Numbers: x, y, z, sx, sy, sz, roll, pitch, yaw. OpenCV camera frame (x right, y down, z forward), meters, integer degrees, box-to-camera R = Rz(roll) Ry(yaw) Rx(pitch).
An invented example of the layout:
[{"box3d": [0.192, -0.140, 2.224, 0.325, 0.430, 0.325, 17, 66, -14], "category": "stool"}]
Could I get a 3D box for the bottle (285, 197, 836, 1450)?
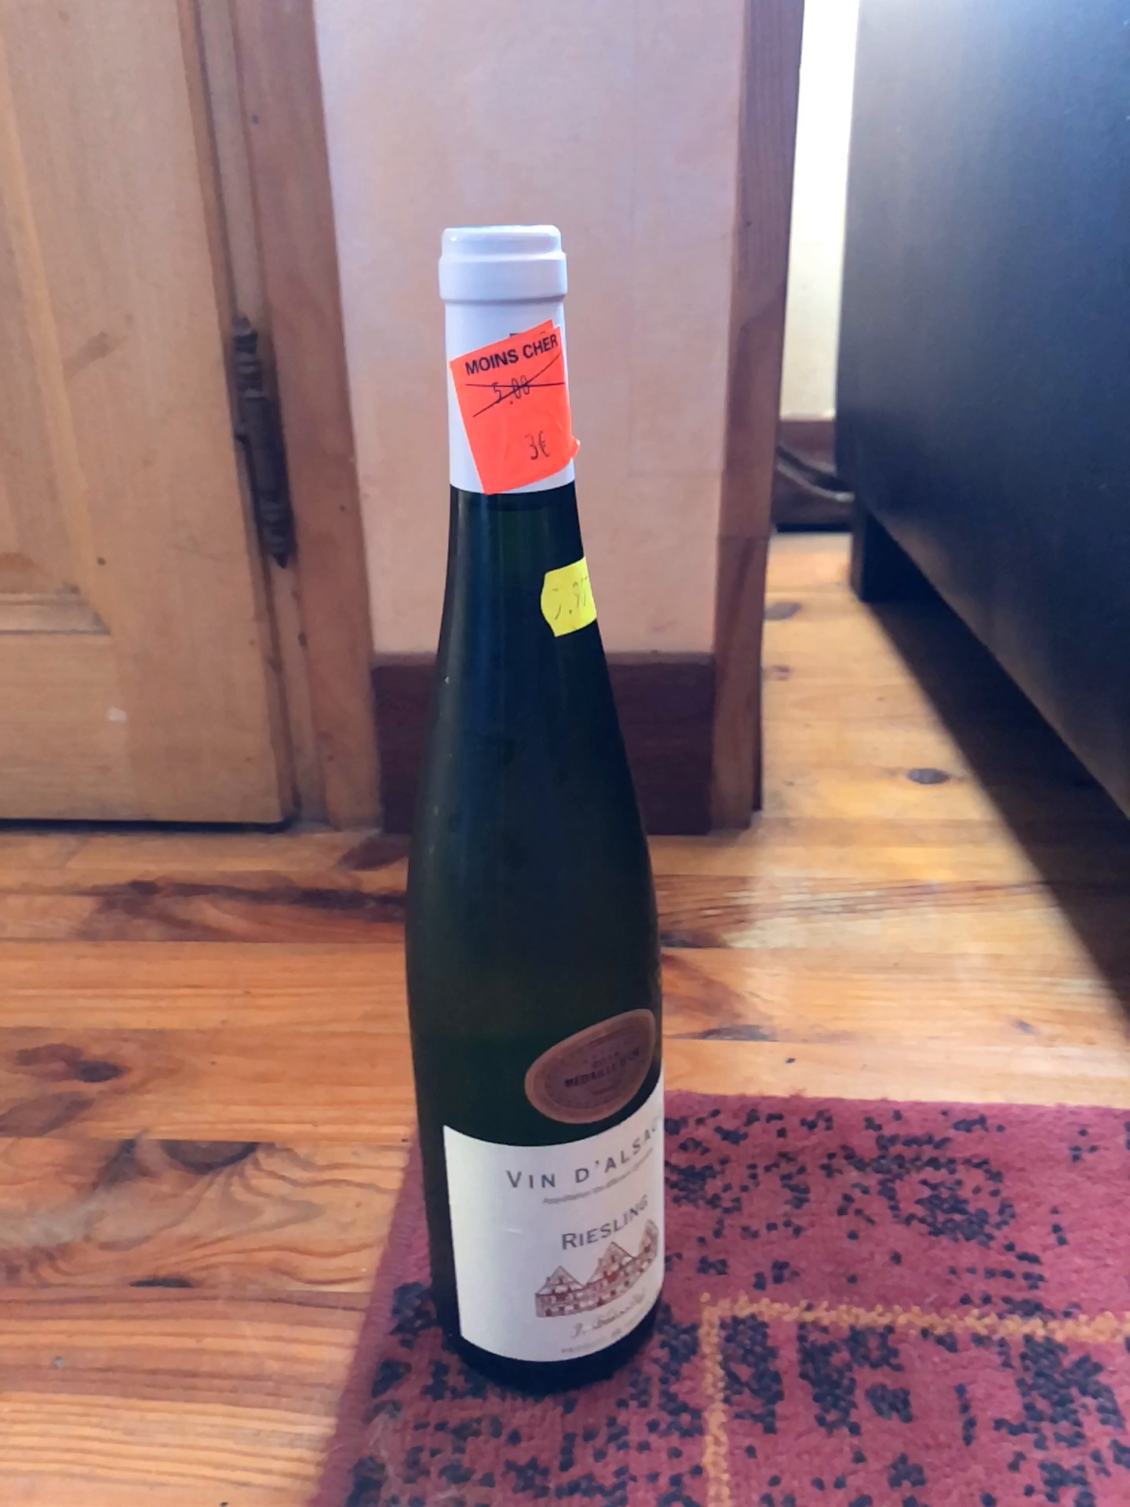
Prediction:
[{"box3d": [0.000, 0.024, 0.316, 0.080, 0.298, 0.080, -1, 25, 0], "category": "bottle"}]
